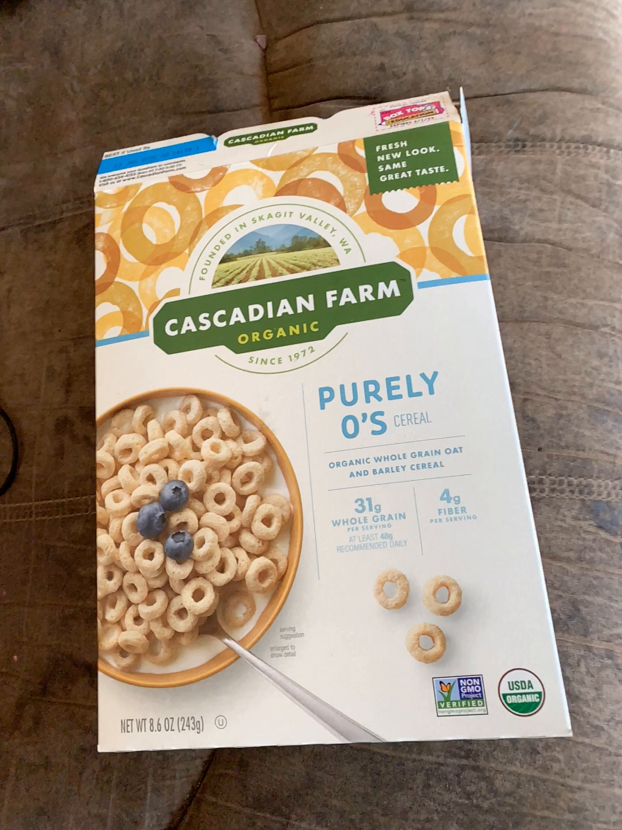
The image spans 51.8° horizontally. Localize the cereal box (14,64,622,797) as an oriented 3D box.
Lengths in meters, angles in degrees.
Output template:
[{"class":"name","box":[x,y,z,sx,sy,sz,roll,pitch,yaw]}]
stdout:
[{"class":"cereal box","box":[-0.007,0.000,0.286,0.200,0.070,0.280,-8,69,11]}]
